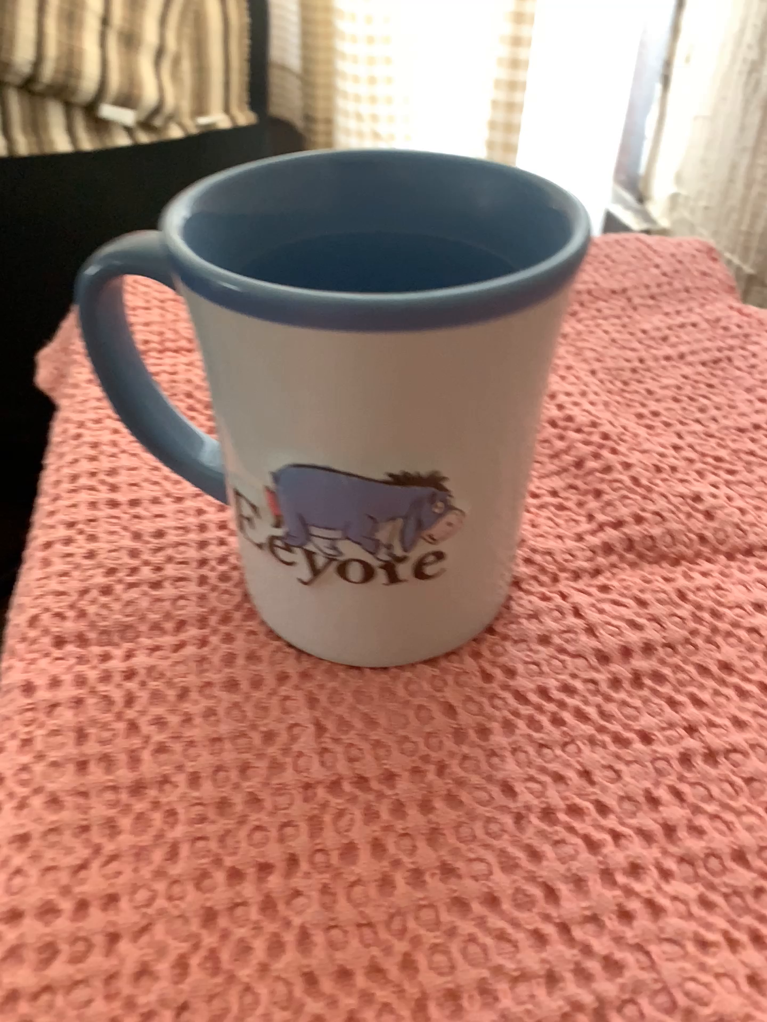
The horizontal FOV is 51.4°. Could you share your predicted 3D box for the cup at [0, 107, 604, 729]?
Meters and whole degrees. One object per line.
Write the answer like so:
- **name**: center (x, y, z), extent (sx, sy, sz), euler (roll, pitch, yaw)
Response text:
- **cup**: center (-0.016, -0.028, 0.191), extent (0.110, 0.099, 0.091), euler (11, 40, 13)
